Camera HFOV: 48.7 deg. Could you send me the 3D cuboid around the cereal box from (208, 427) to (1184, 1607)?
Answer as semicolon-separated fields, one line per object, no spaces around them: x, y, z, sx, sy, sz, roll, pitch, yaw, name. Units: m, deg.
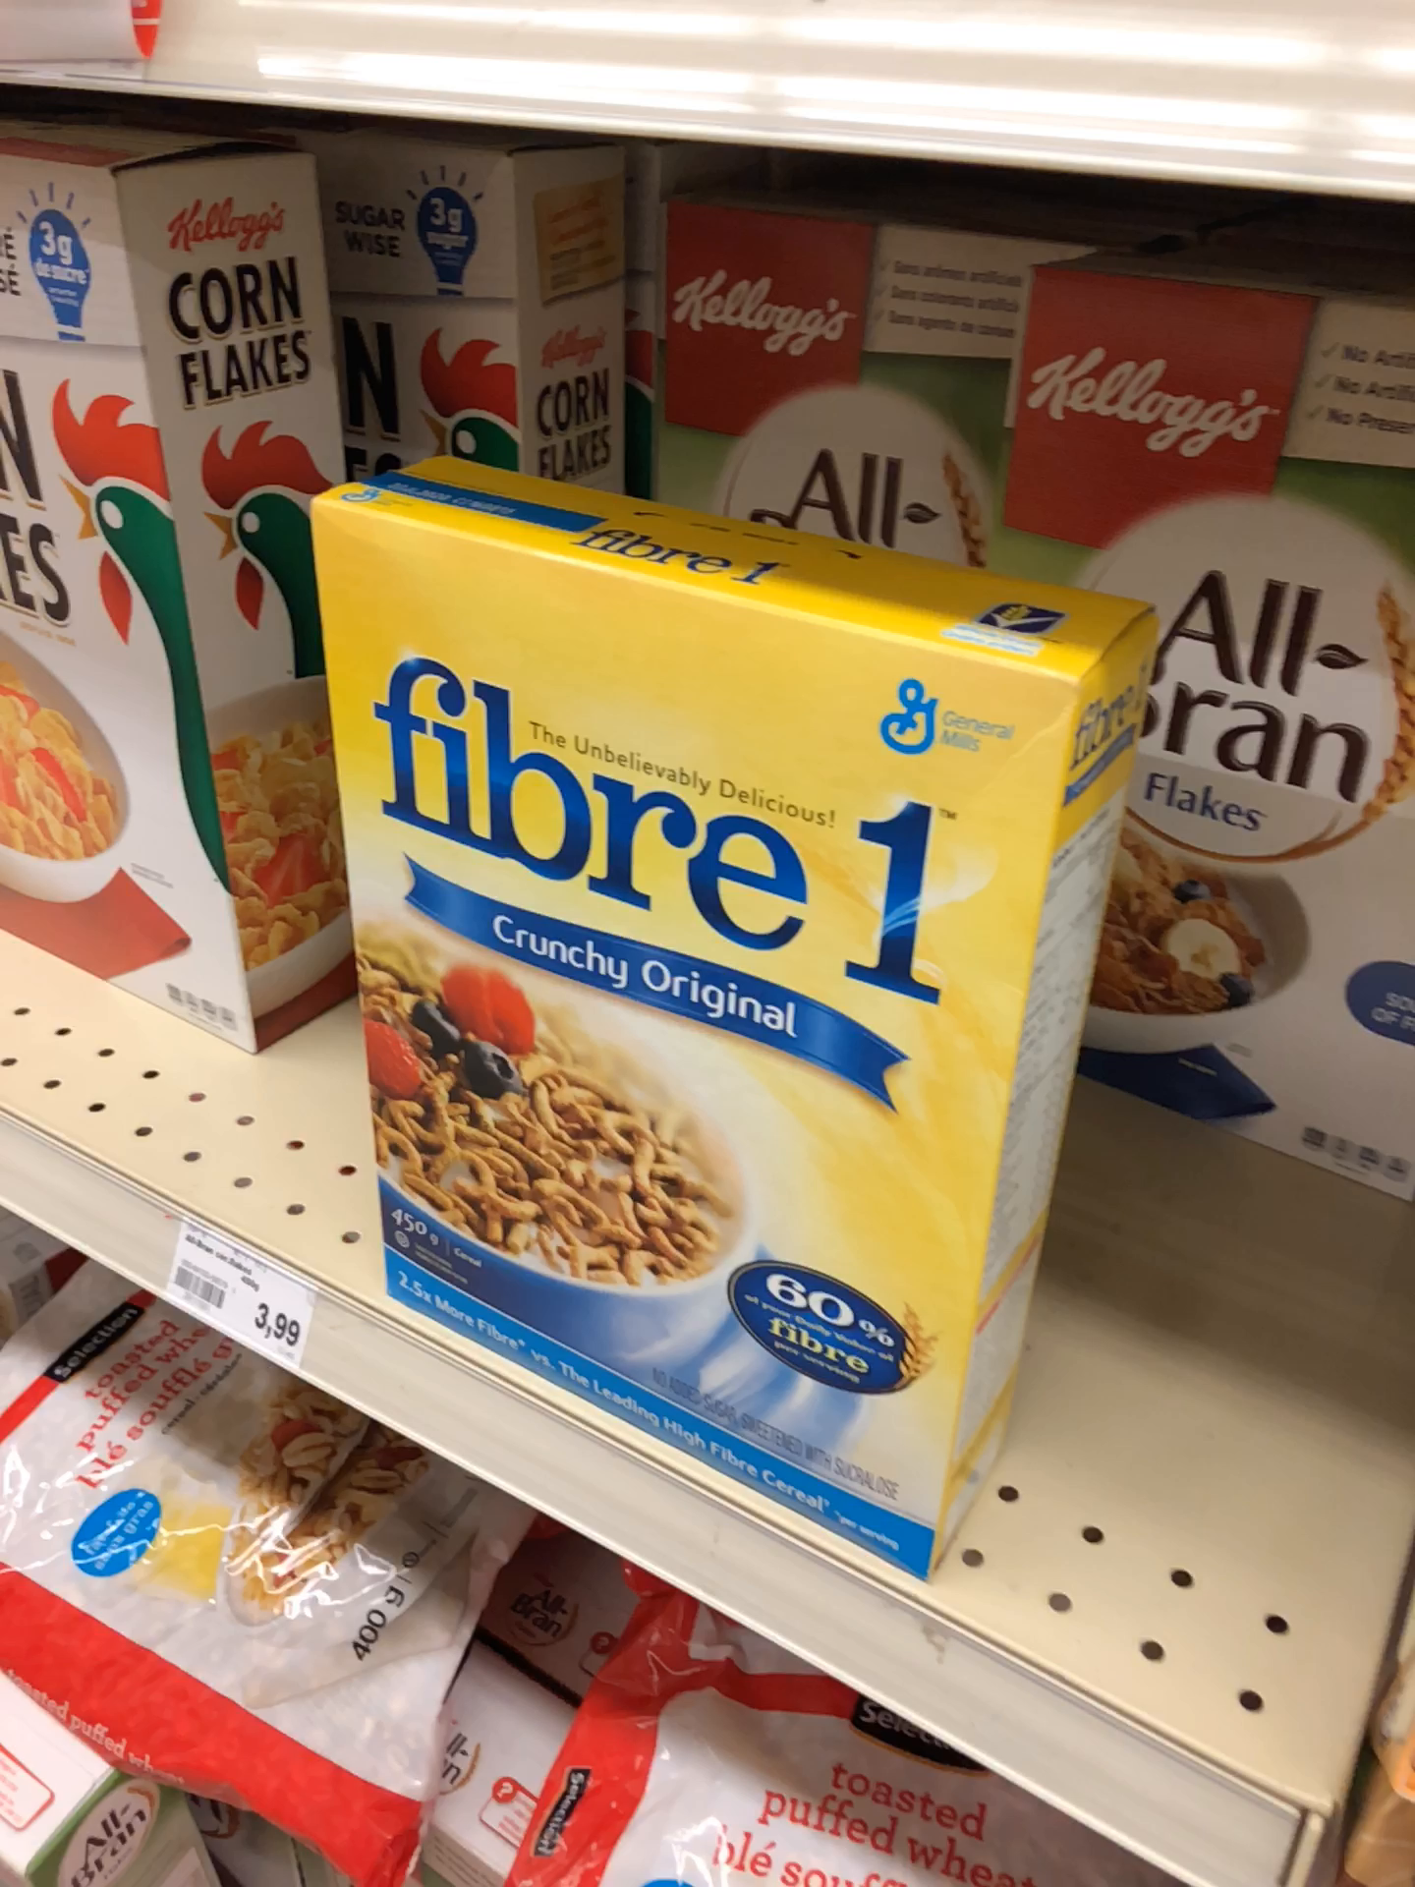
-0.013;0.017;0.399;0.210;0.248;0.060;19;35;26;cereal box
